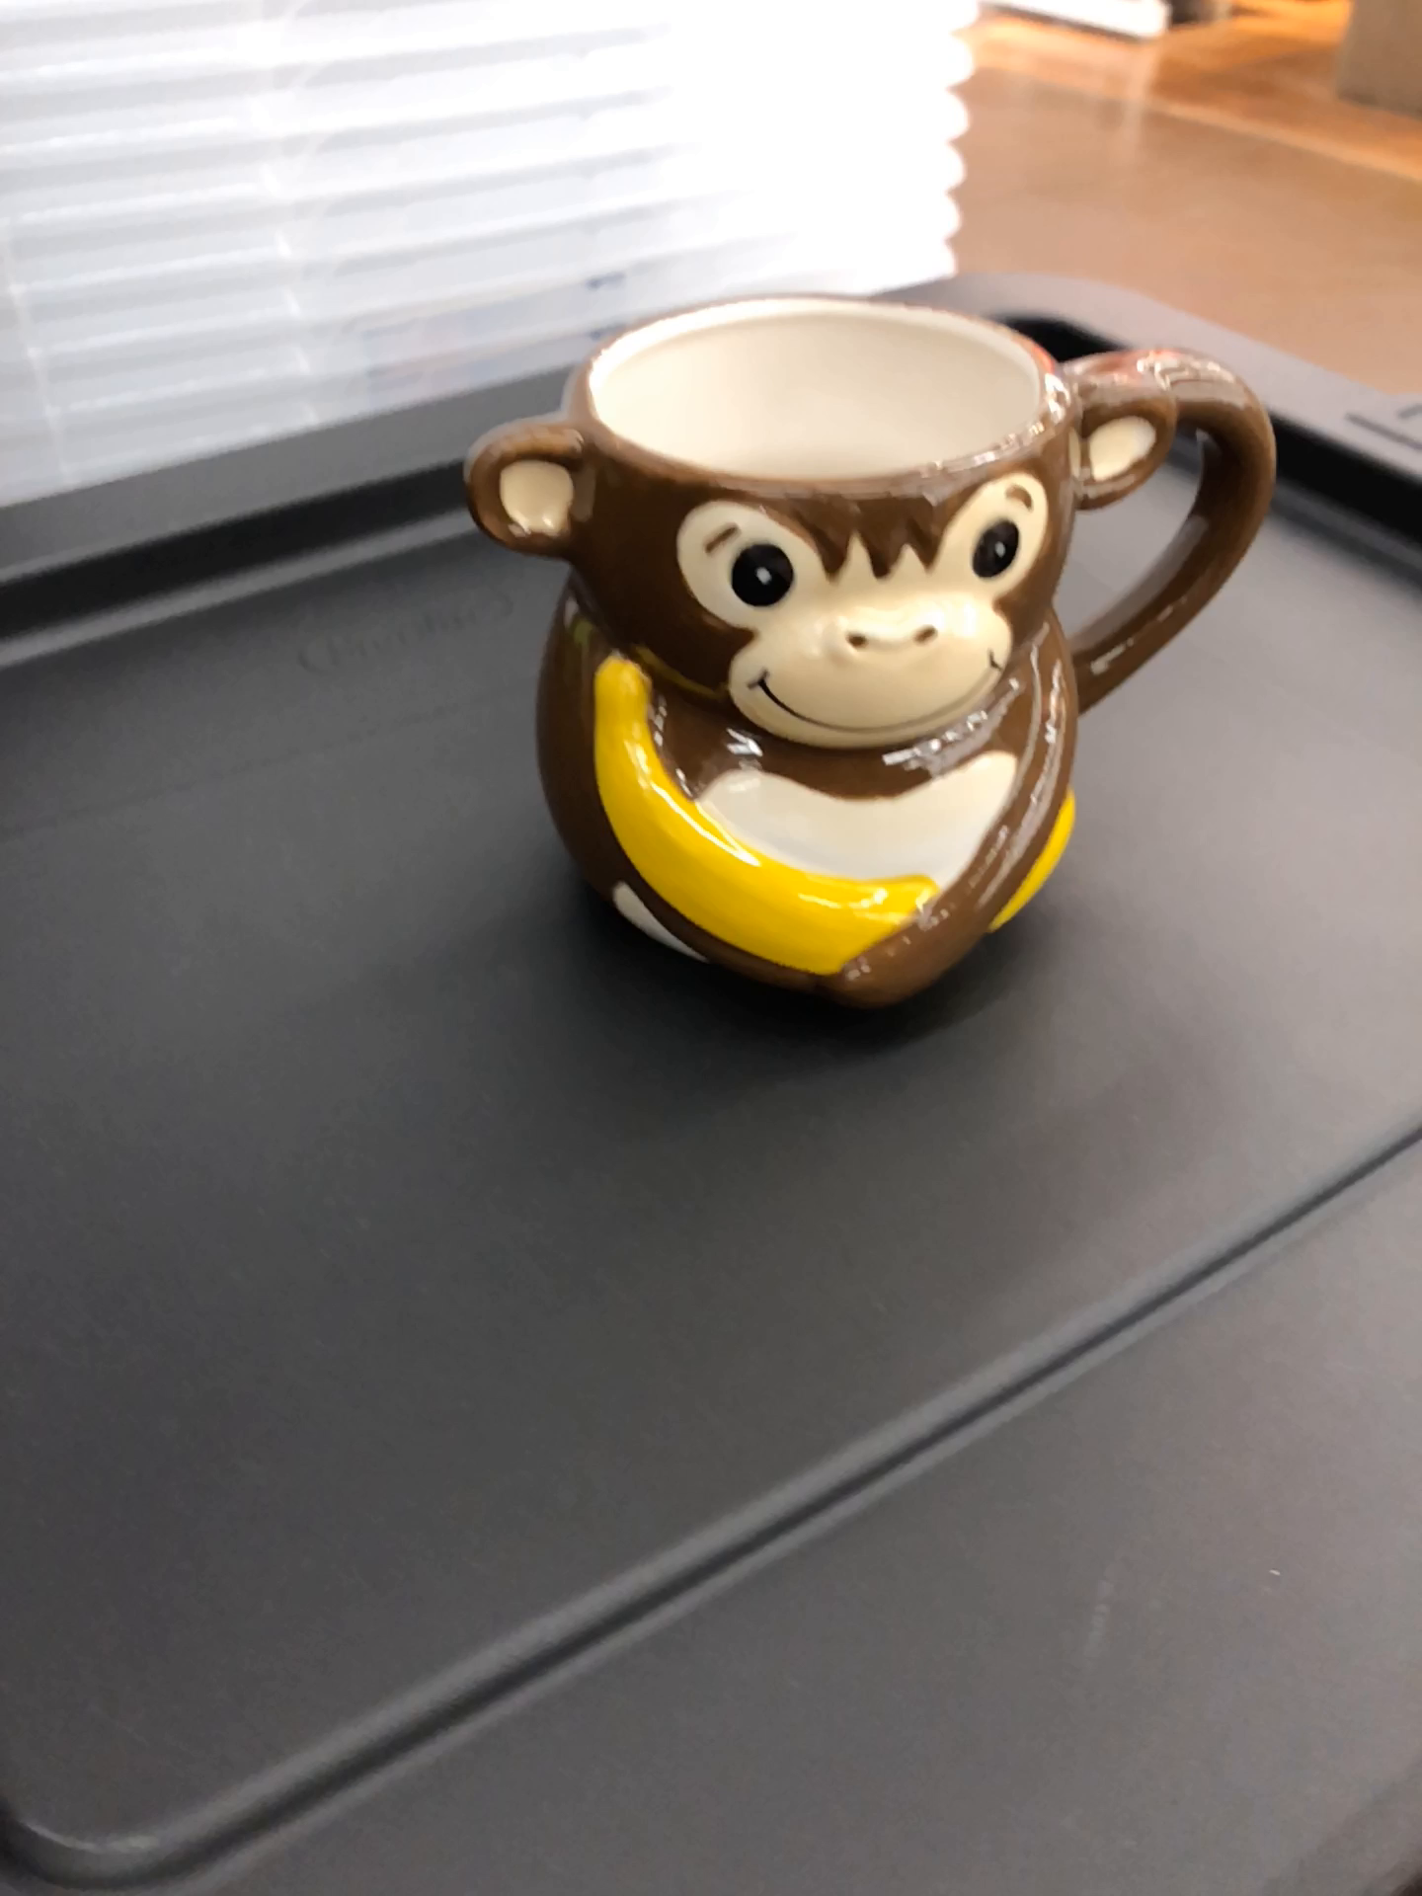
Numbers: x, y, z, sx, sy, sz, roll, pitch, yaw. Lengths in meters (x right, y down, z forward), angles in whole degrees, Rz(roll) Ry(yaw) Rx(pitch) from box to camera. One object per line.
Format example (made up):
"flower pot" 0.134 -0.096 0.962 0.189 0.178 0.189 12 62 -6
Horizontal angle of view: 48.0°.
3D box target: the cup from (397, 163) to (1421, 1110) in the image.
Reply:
"cup" 0.042 -0.064 0.282 0.160 0.100 0.110 -14 42 -17
